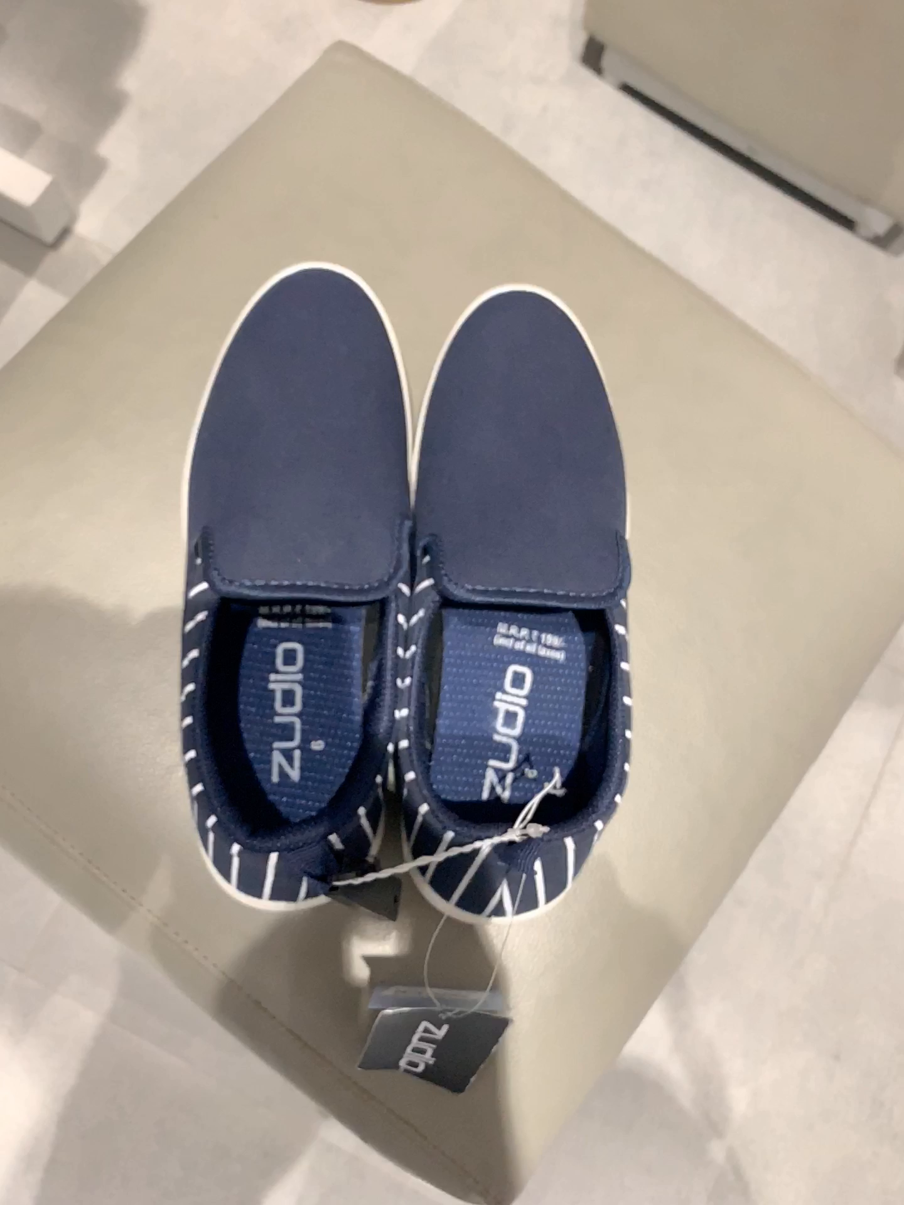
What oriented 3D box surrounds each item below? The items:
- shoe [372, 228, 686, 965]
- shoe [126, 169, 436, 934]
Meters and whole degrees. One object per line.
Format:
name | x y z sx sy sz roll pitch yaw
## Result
shoe | 0.030 -0.003 0.389 0.100 0.090 0.270 6 77 -4
shoe | -0.061 -0.020 0.379 0.100 0.090 0.280 0 78 -5
